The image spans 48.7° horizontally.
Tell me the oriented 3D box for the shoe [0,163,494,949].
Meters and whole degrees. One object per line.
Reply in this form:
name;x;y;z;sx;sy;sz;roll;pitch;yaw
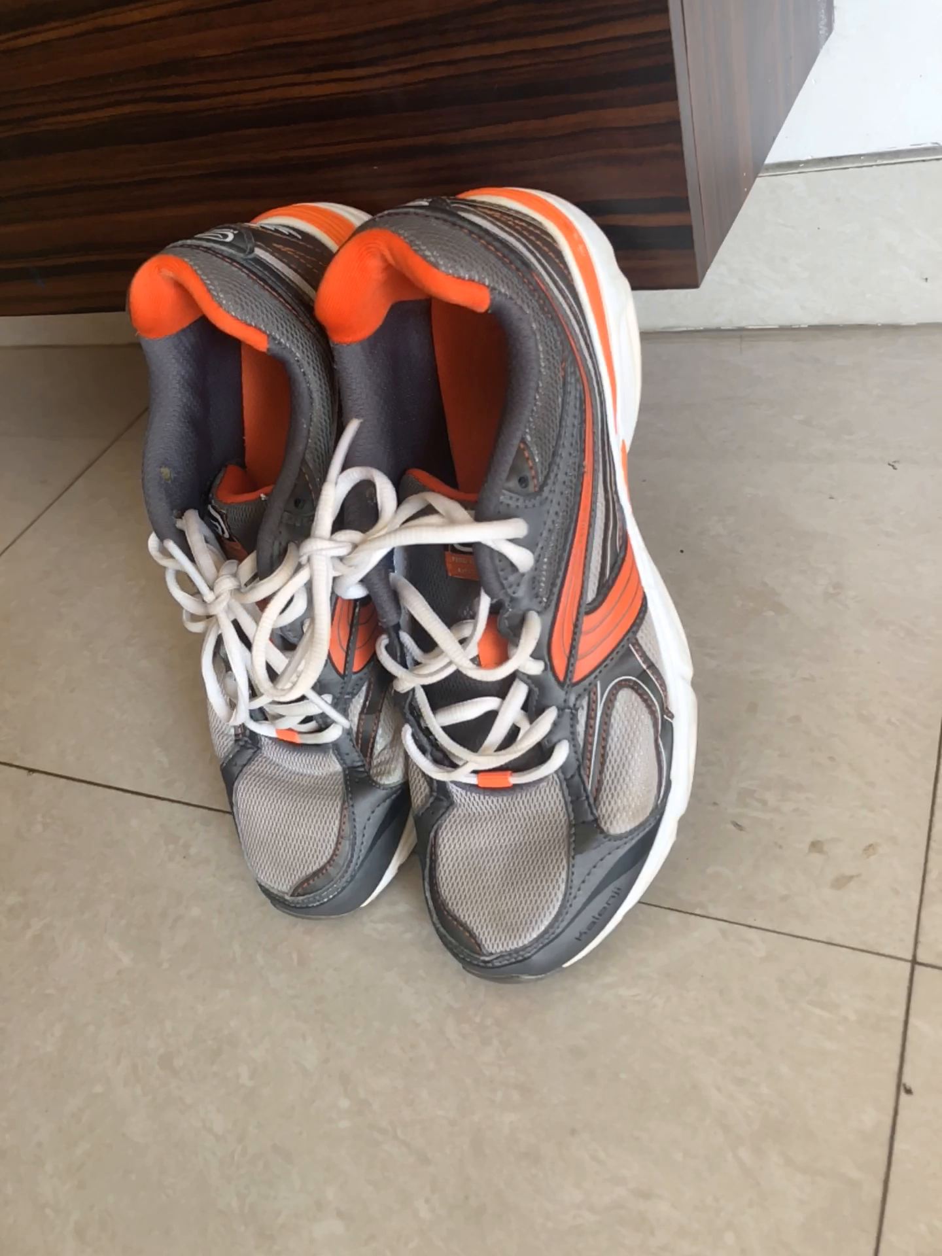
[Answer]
shoe;-0.077;-0.026;0.407;0.120;0.269;0.100;1;21;21

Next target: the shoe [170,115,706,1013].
shoe;0.002;-0.022;0.365;0.120;0.259;0.110;3;19;28
